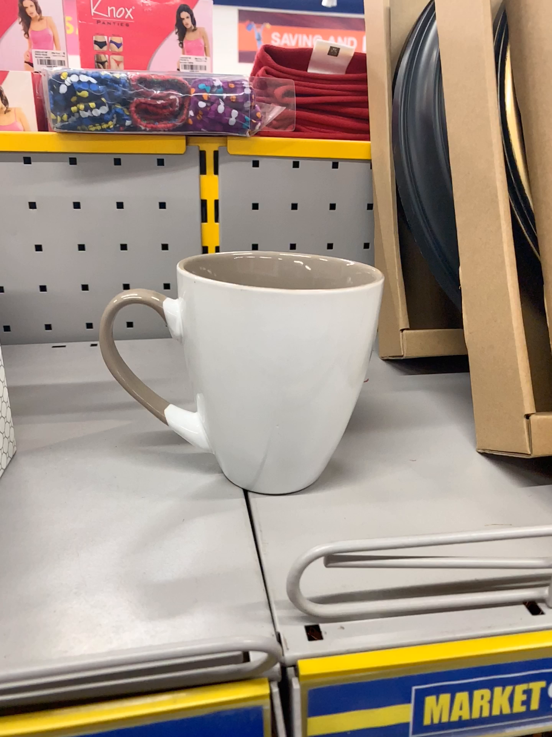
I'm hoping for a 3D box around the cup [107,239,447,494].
[{"bbox_3d":[-0.004,-0.008,0.297,0.140,0.100,0.100,-1,22,-6],"label":"cup"}]
